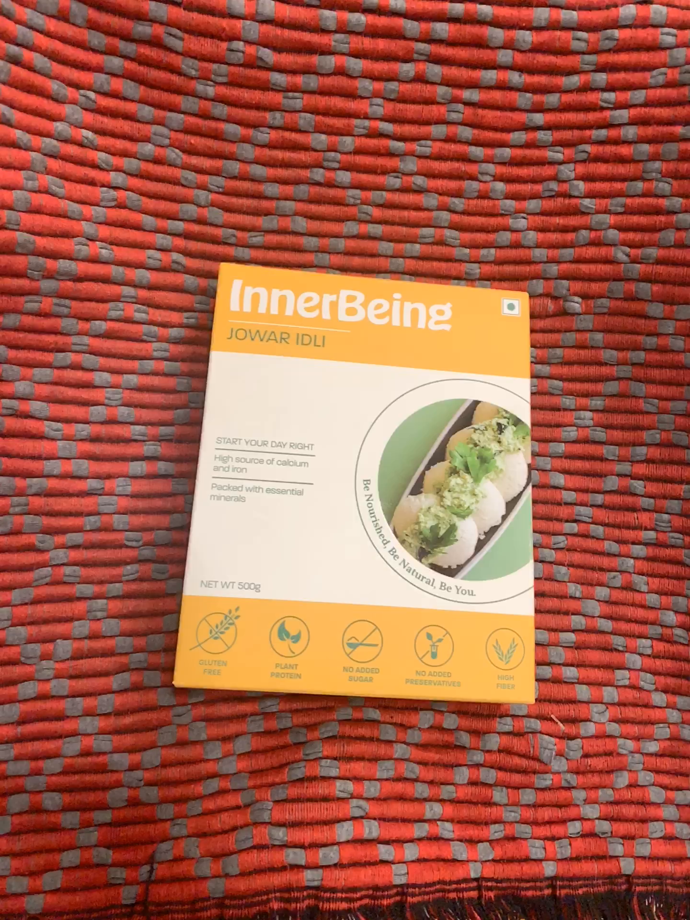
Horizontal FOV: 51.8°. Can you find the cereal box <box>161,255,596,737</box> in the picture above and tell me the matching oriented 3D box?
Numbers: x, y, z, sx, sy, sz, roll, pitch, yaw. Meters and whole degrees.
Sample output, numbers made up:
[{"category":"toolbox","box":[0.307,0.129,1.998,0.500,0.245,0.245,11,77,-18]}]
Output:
[{"category":"cereal box","box":[0.009,0.018,0.308,0.150,0.070,0.190,3,69,-8]}]
